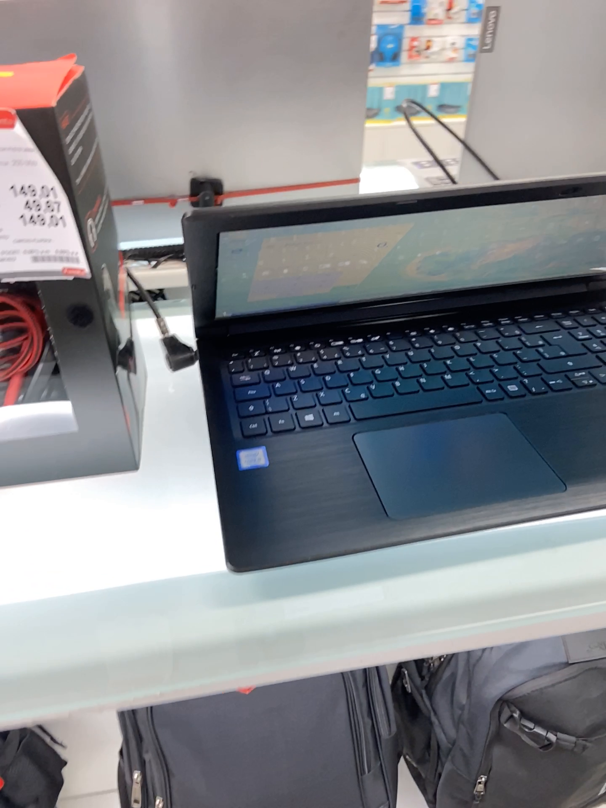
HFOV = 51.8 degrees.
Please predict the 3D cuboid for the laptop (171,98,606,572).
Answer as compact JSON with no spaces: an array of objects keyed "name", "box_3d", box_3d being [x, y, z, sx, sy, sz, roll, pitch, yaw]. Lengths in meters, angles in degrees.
[{"name":"laptop","box_3d":[0.119,-0.075,0.392,0.370,0.157,0.240,-8,36,-9]}]
